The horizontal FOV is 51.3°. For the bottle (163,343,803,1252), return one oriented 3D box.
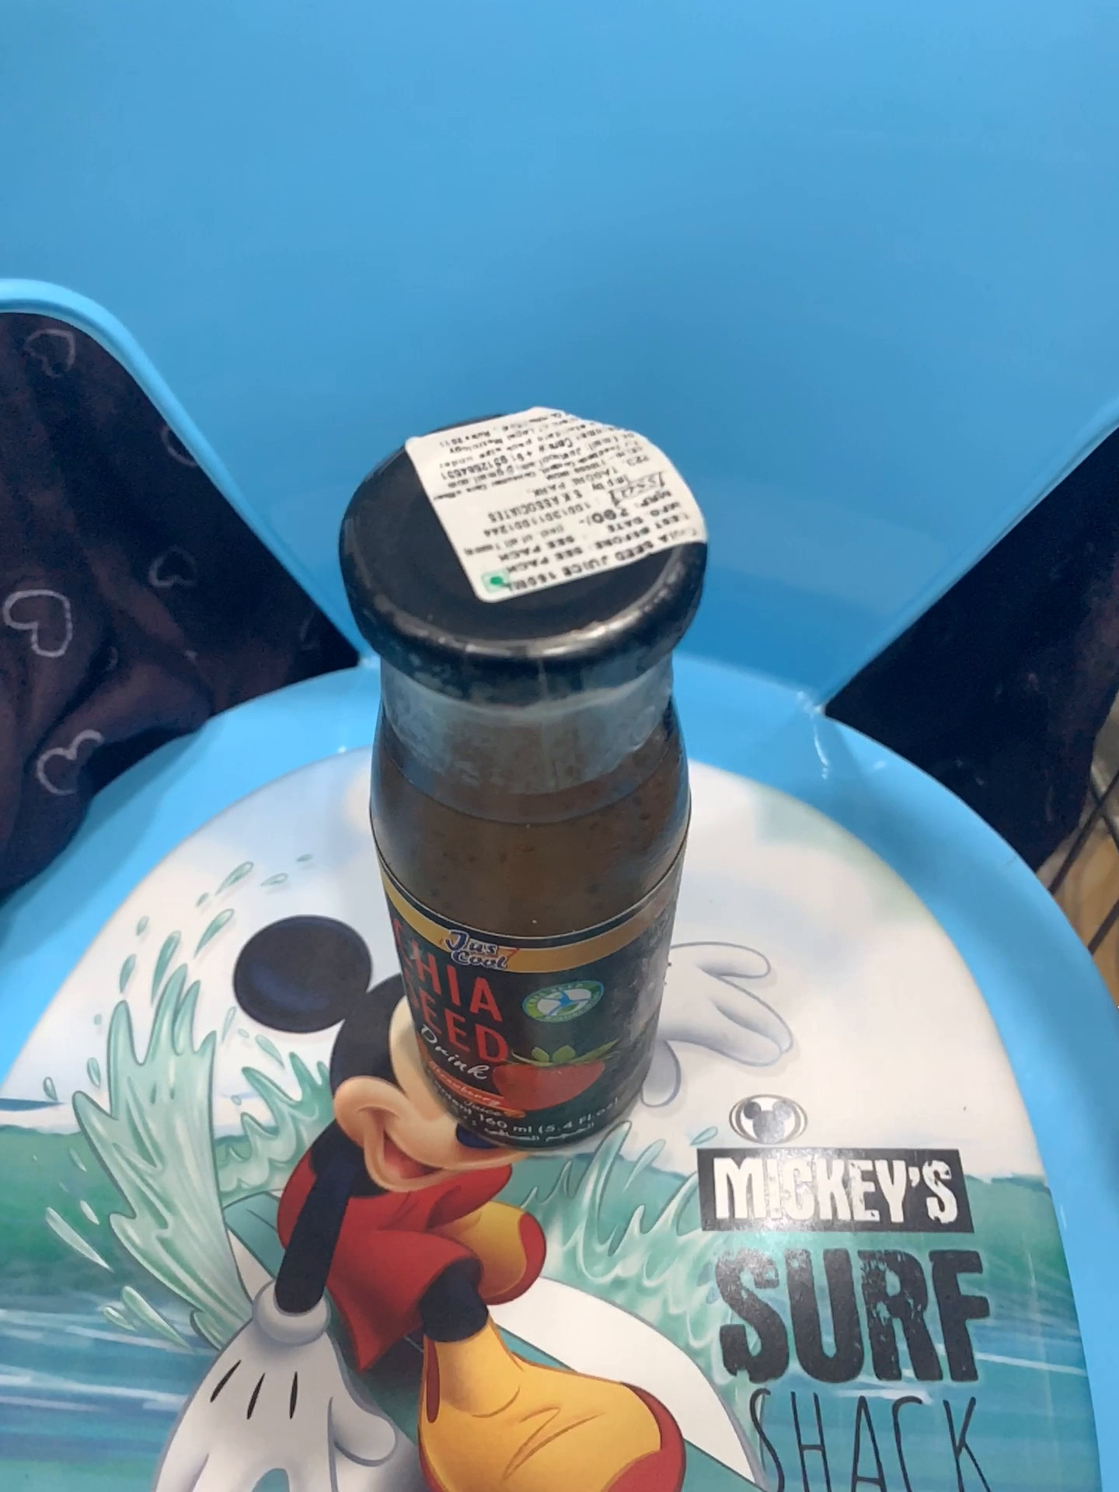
[{"bbox_3d":[-0.007,0.017,0.174,0.050,0.130,0.050,0,48,0],"label":"bottle"}]
